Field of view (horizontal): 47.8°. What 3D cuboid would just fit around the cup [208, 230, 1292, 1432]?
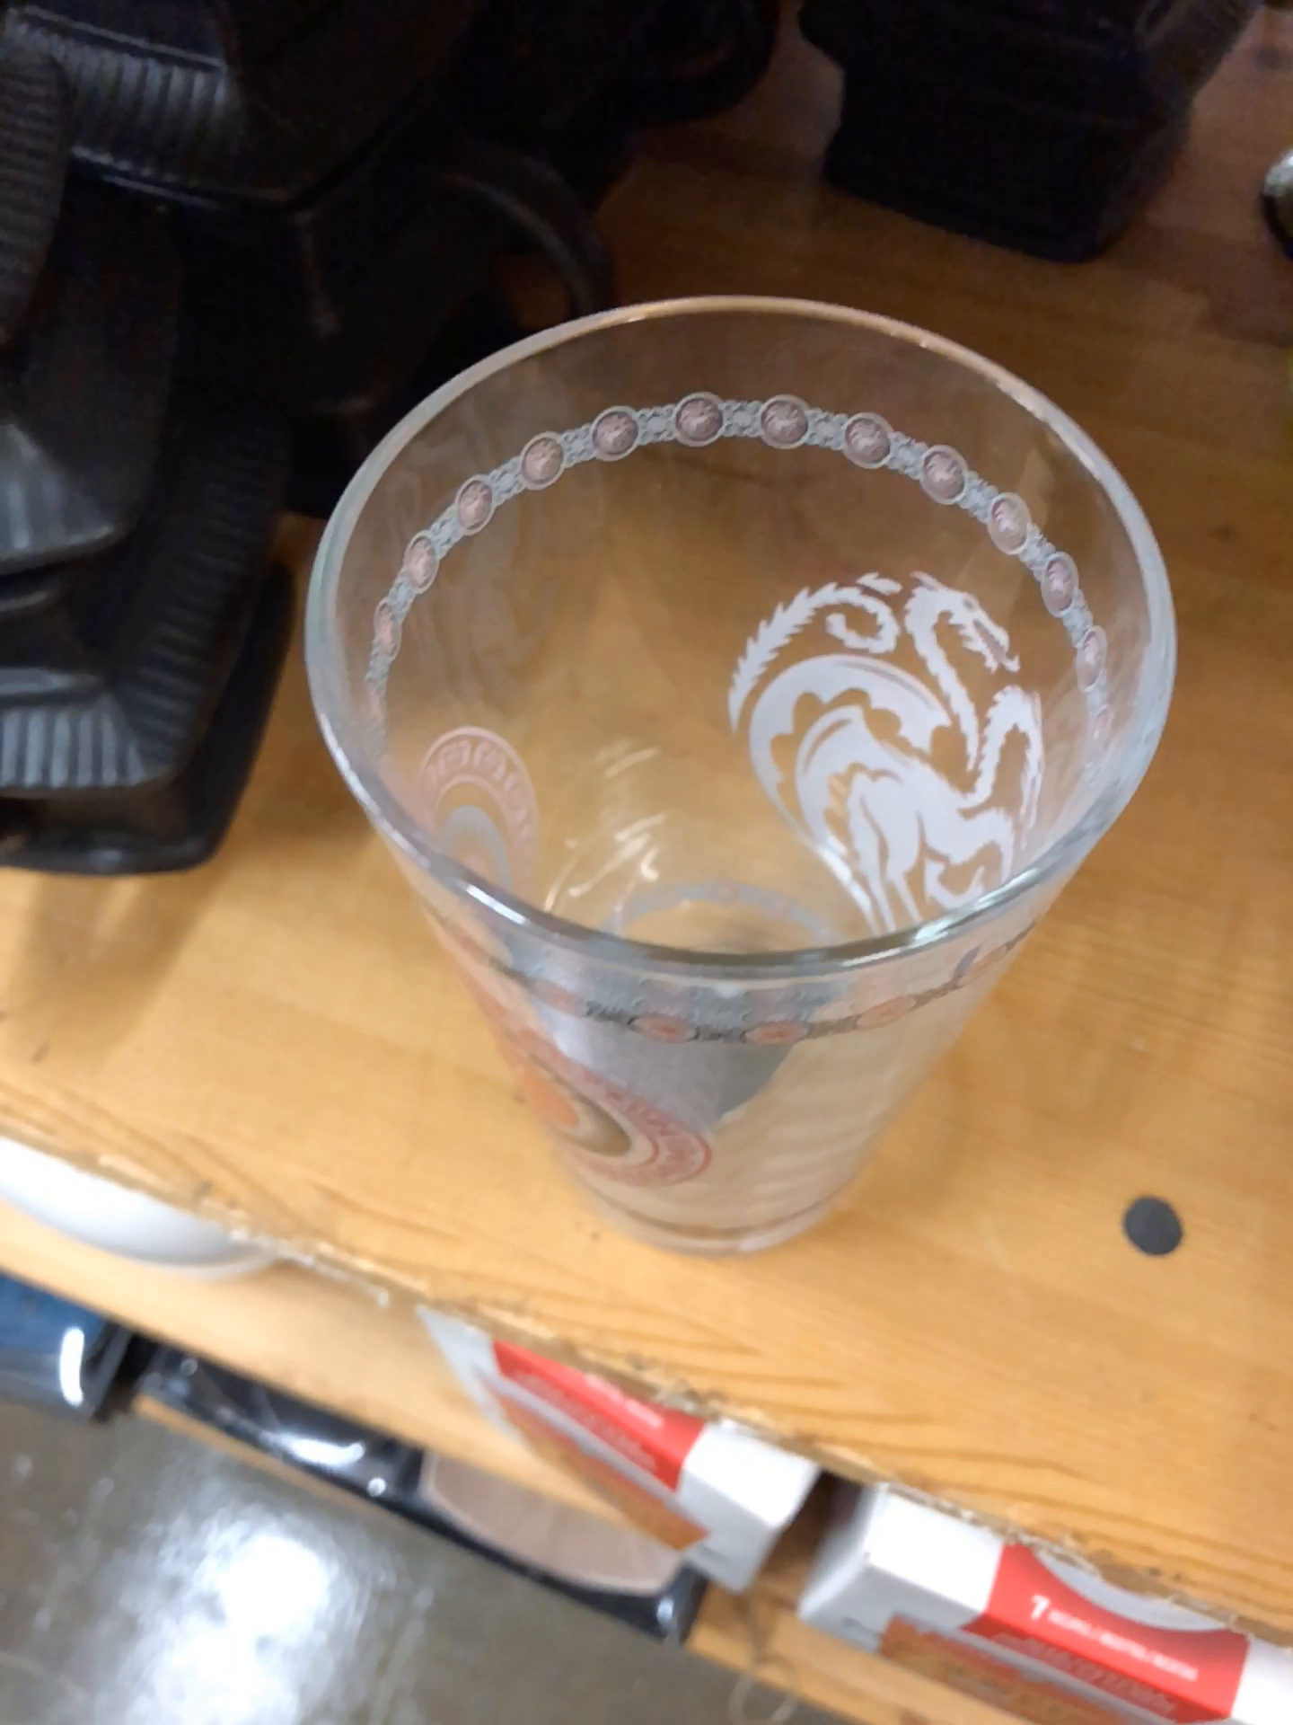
[{"bbox_3d":[0.010,0.008,0.200,0.084,0.132,0.085,-1,60,1],"label":"cup"}]
